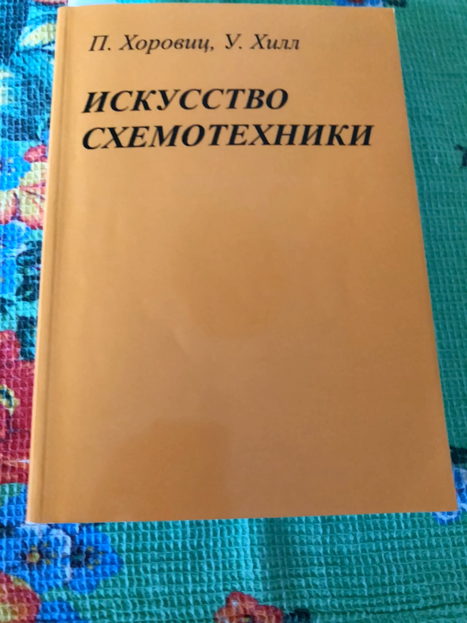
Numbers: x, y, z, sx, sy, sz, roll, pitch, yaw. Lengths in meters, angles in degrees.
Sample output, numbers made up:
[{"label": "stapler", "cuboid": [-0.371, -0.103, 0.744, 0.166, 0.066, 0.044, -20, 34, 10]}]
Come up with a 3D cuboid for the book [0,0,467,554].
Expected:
[{"label": "book", "cuboid": [0.003, -0.030, 0.252, 0.180, 0.050, 0.261, 0, 71, -2]}]
